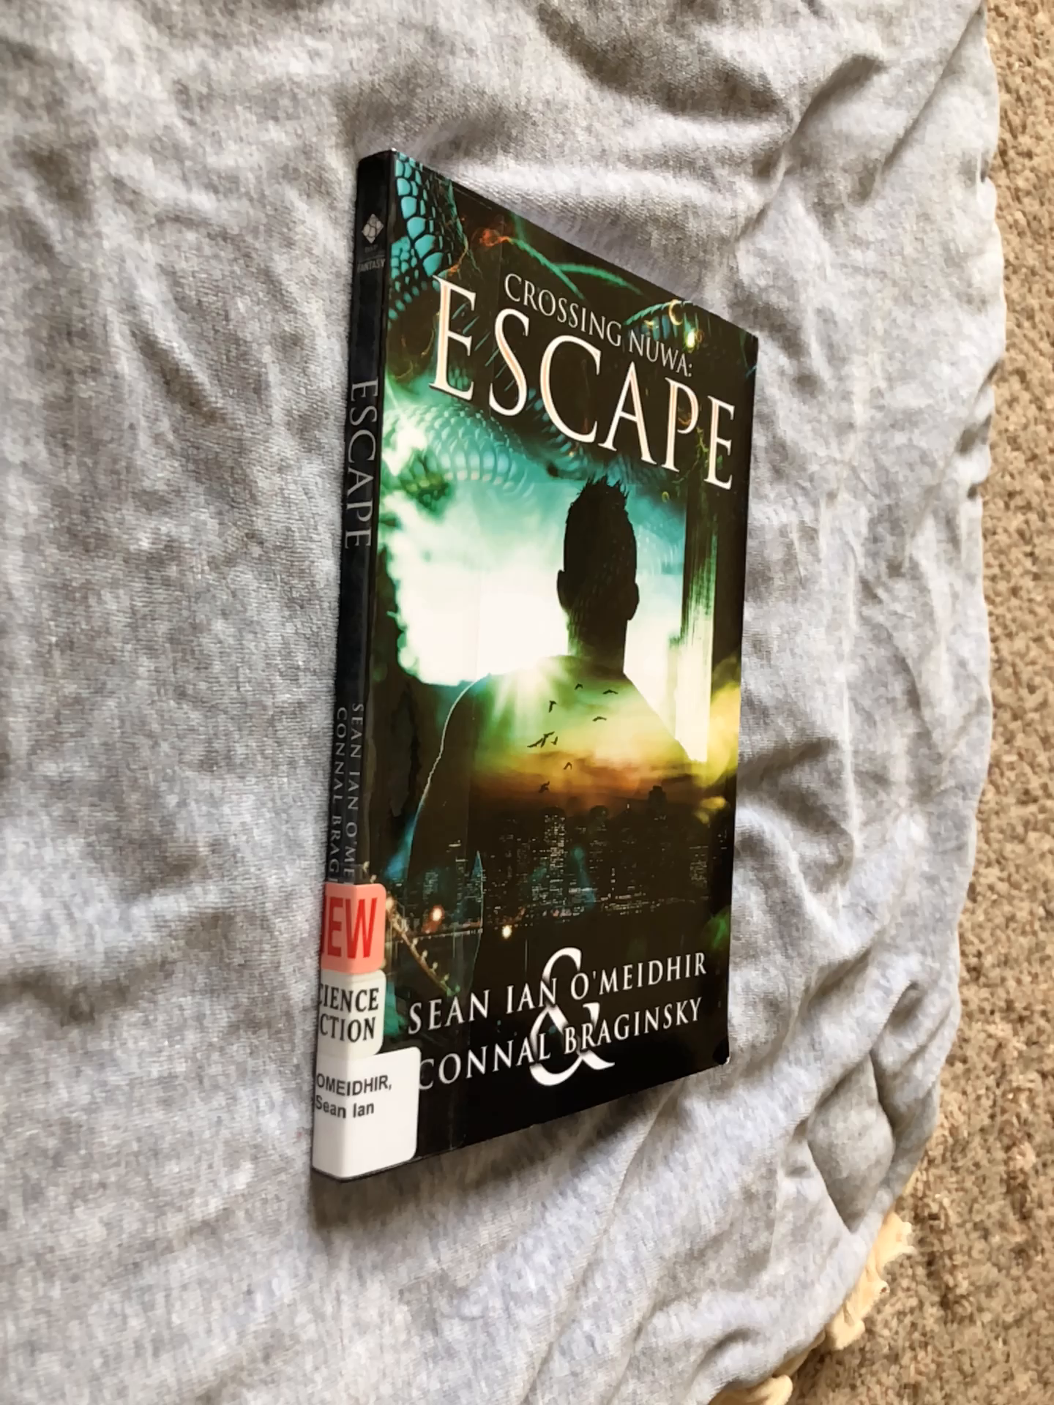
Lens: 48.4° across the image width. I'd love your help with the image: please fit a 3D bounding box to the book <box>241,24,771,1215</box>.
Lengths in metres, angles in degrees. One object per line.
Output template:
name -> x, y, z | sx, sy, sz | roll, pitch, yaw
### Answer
book -> 0.006, -0.015, 0.315 | 0.161, 0.030, 0.250 | 4, 87, -48
